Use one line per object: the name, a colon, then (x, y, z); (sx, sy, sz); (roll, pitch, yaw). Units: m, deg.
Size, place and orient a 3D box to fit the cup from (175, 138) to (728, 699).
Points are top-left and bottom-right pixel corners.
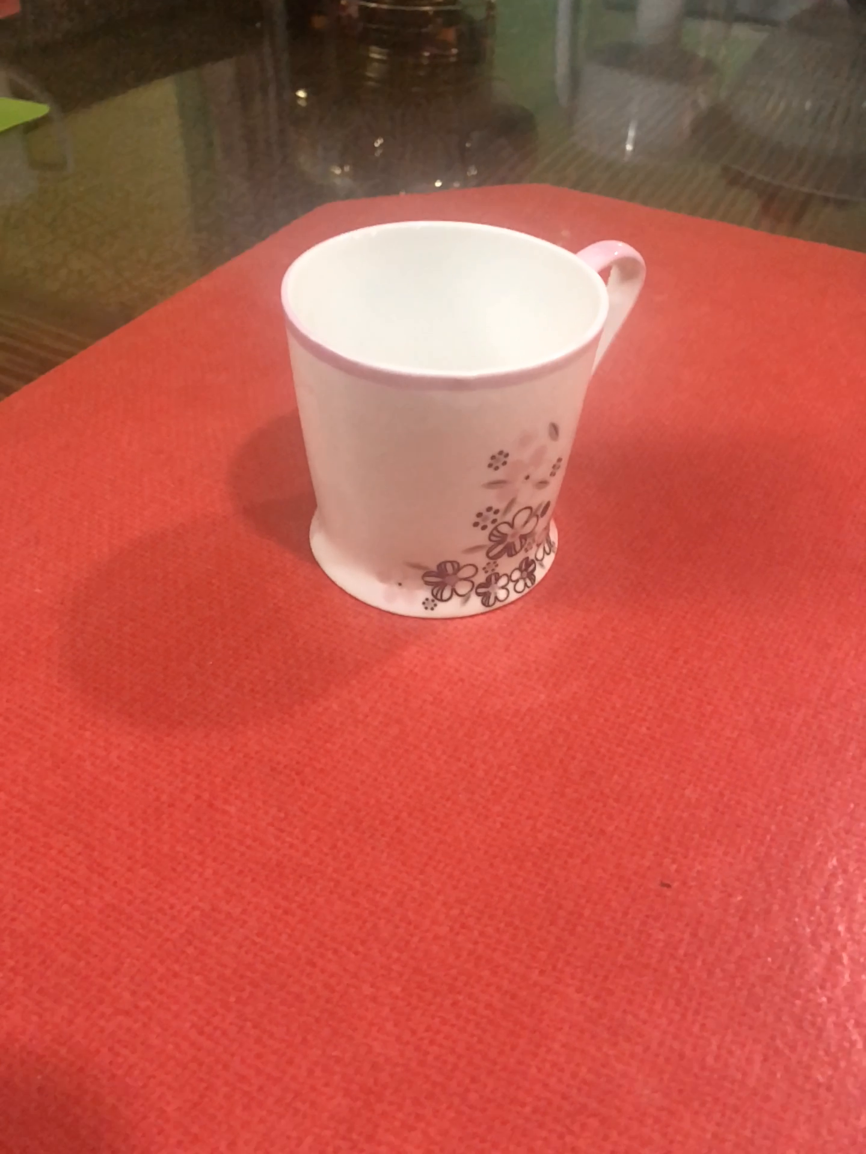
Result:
cup: (0.007, -0.044, 0.233); (0.070, 0.080, 0.100); (30, 50, 28)
